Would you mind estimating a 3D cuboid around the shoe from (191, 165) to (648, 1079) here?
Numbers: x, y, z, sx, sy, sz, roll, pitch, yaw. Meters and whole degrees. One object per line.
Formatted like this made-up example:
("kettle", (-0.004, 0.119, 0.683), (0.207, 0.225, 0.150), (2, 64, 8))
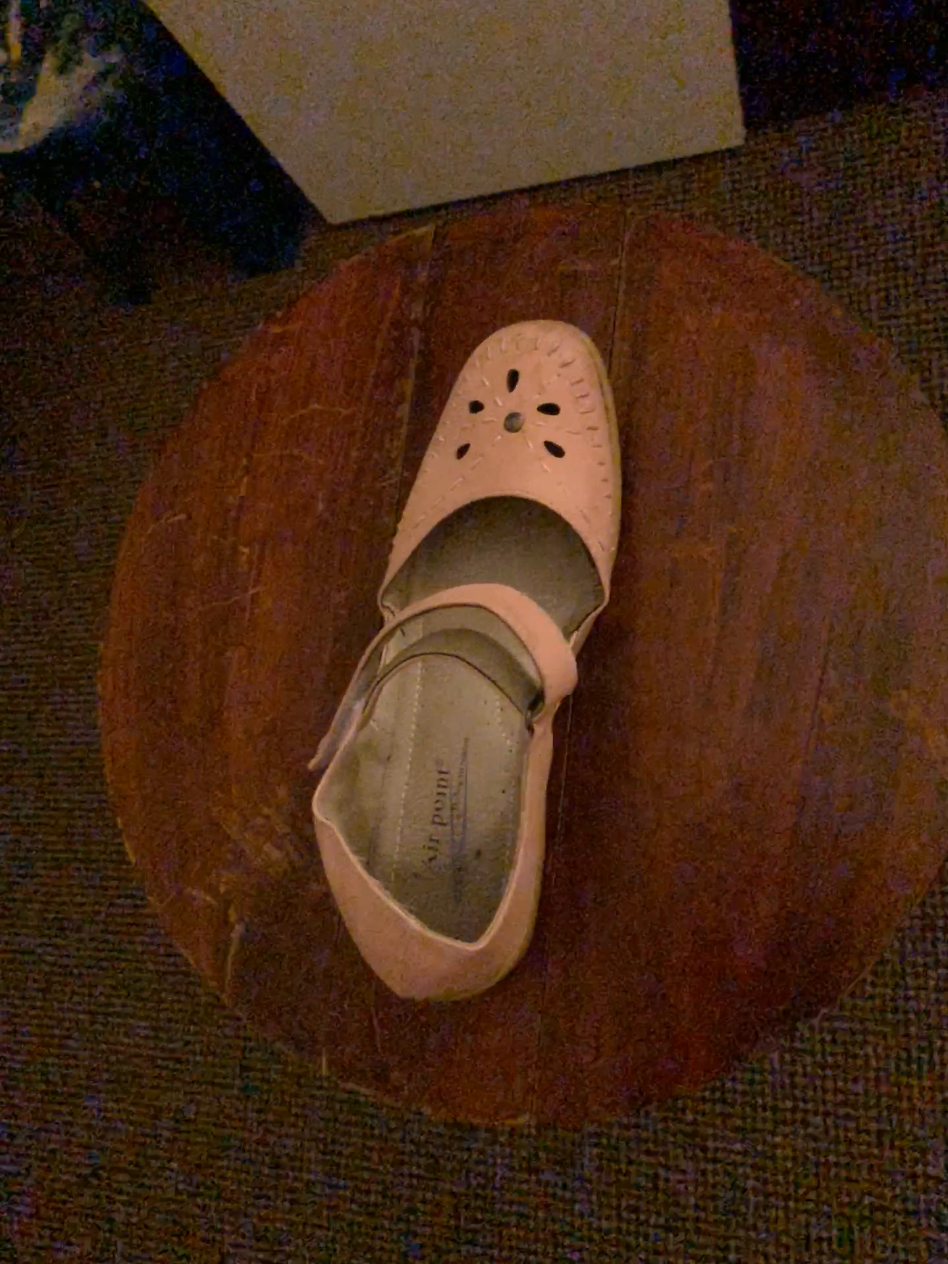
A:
("shoe", (-0.008, -0.007, 0.344), (0.102, 0.092, 0.272), (3, 80, 21))
